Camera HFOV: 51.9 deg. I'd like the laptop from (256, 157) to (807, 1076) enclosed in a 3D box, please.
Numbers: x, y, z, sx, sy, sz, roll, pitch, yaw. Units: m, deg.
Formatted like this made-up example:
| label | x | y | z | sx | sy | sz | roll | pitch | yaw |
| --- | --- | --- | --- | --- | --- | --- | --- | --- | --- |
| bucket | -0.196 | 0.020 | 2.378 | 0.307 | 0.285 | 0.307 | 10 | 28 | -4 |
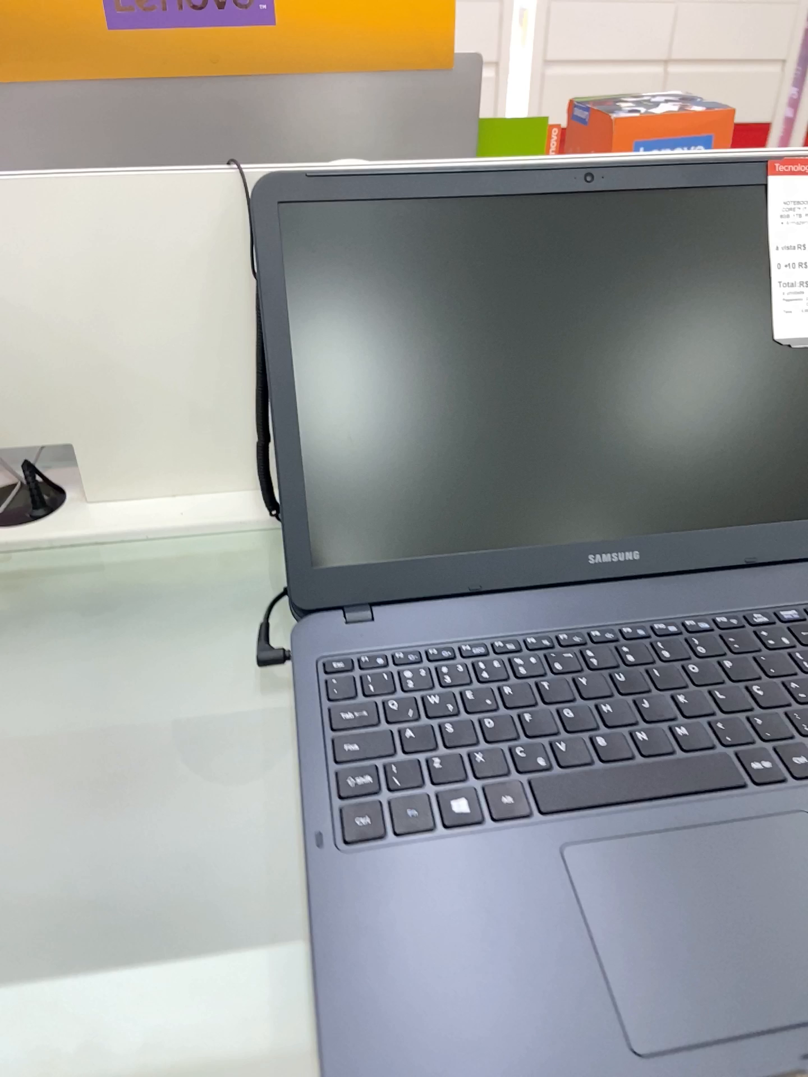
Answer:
| label | x | y | z | sx | sy | sz | roll | pitch | yaw |
| --- | --- | --- | --- | --- | --- | --- | --- | --- | --- |
| laptop | 0.133 | -0.022 | 0.367 | 0.371 | 0.192 | 0.371 | -5 | 35 | -7 |
